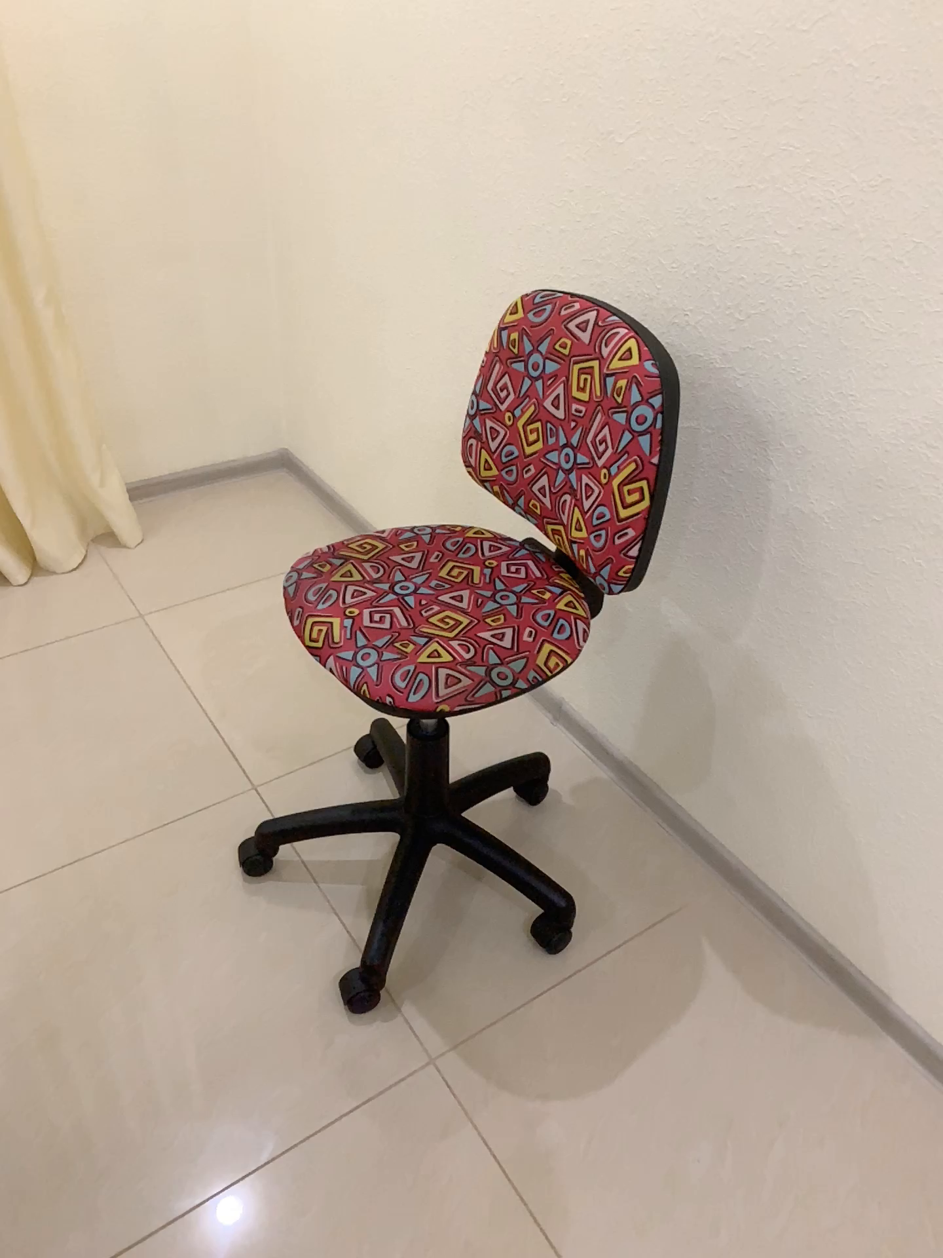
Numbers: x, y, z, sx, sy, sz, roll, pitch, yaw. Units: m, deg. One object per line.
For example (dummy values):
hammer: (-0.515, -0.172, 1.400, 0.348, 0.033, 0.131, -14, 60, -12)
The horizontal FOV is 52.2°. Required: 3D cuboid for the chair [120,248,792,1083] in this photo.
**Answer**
chair: (-0.058, 0.032, 1.343, 0.541, 0.885, 0.552, -20, 43, -28)
